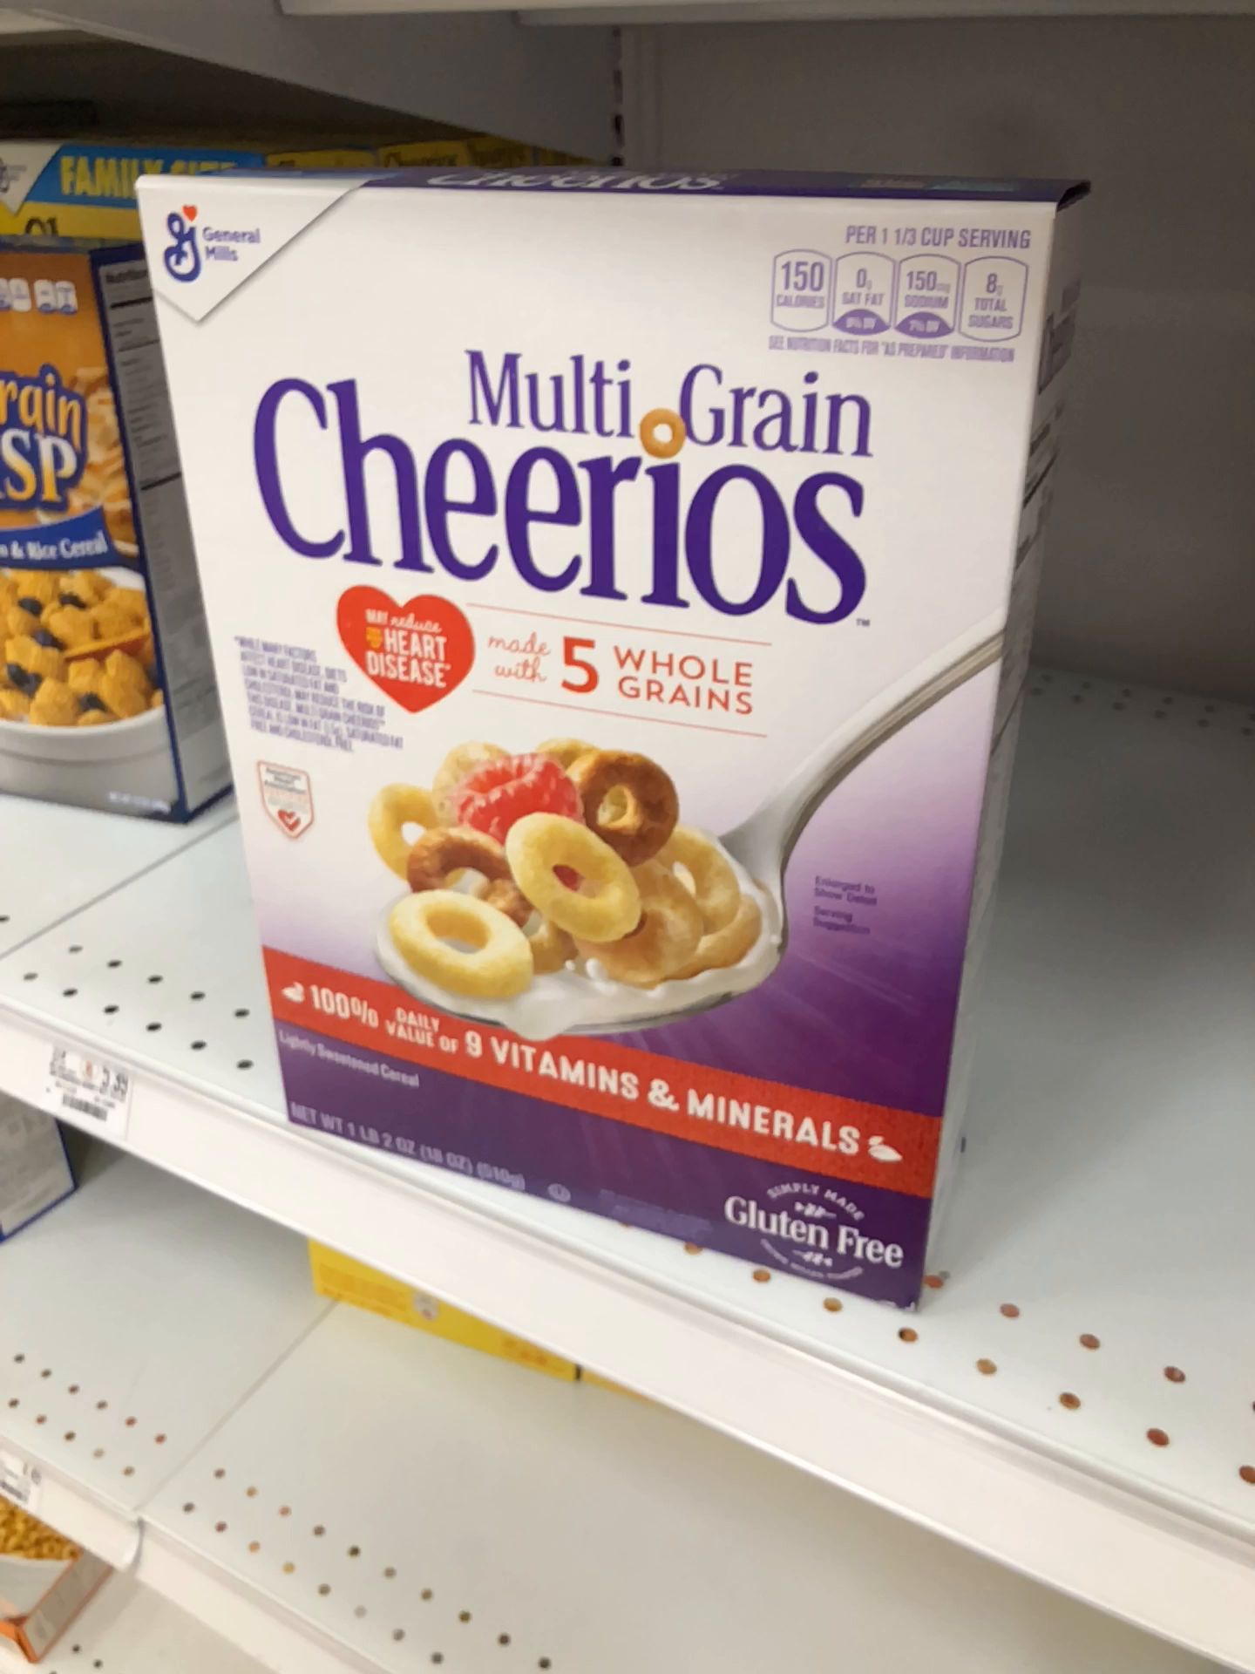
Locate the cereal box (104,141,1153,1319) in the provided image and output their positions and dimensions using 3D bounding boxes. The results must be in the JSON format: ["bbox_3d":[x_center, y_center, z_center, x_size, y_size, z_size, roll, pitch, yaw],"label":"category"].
[{"bbox_3d":[-0.003,-0.030,0.435,0.260,0.329,0.070,11,31,21],"label":"cereal box"}]
